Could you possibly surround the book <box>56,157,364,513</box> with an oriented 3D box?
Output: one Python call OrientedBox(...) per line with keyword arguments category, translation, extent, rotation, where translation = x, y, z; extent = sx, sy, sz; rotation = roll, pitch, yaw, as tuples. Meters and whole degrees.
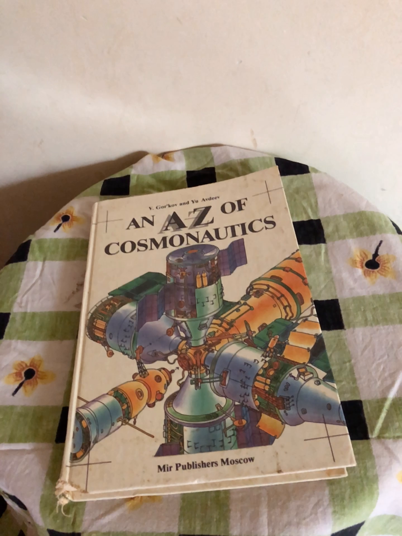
OrientedBox(category="book", translation=(-0.003, 0.034, 0.364), extent=(0.180, 0.060, 0.271), rotation=(-7, 53, 3))
